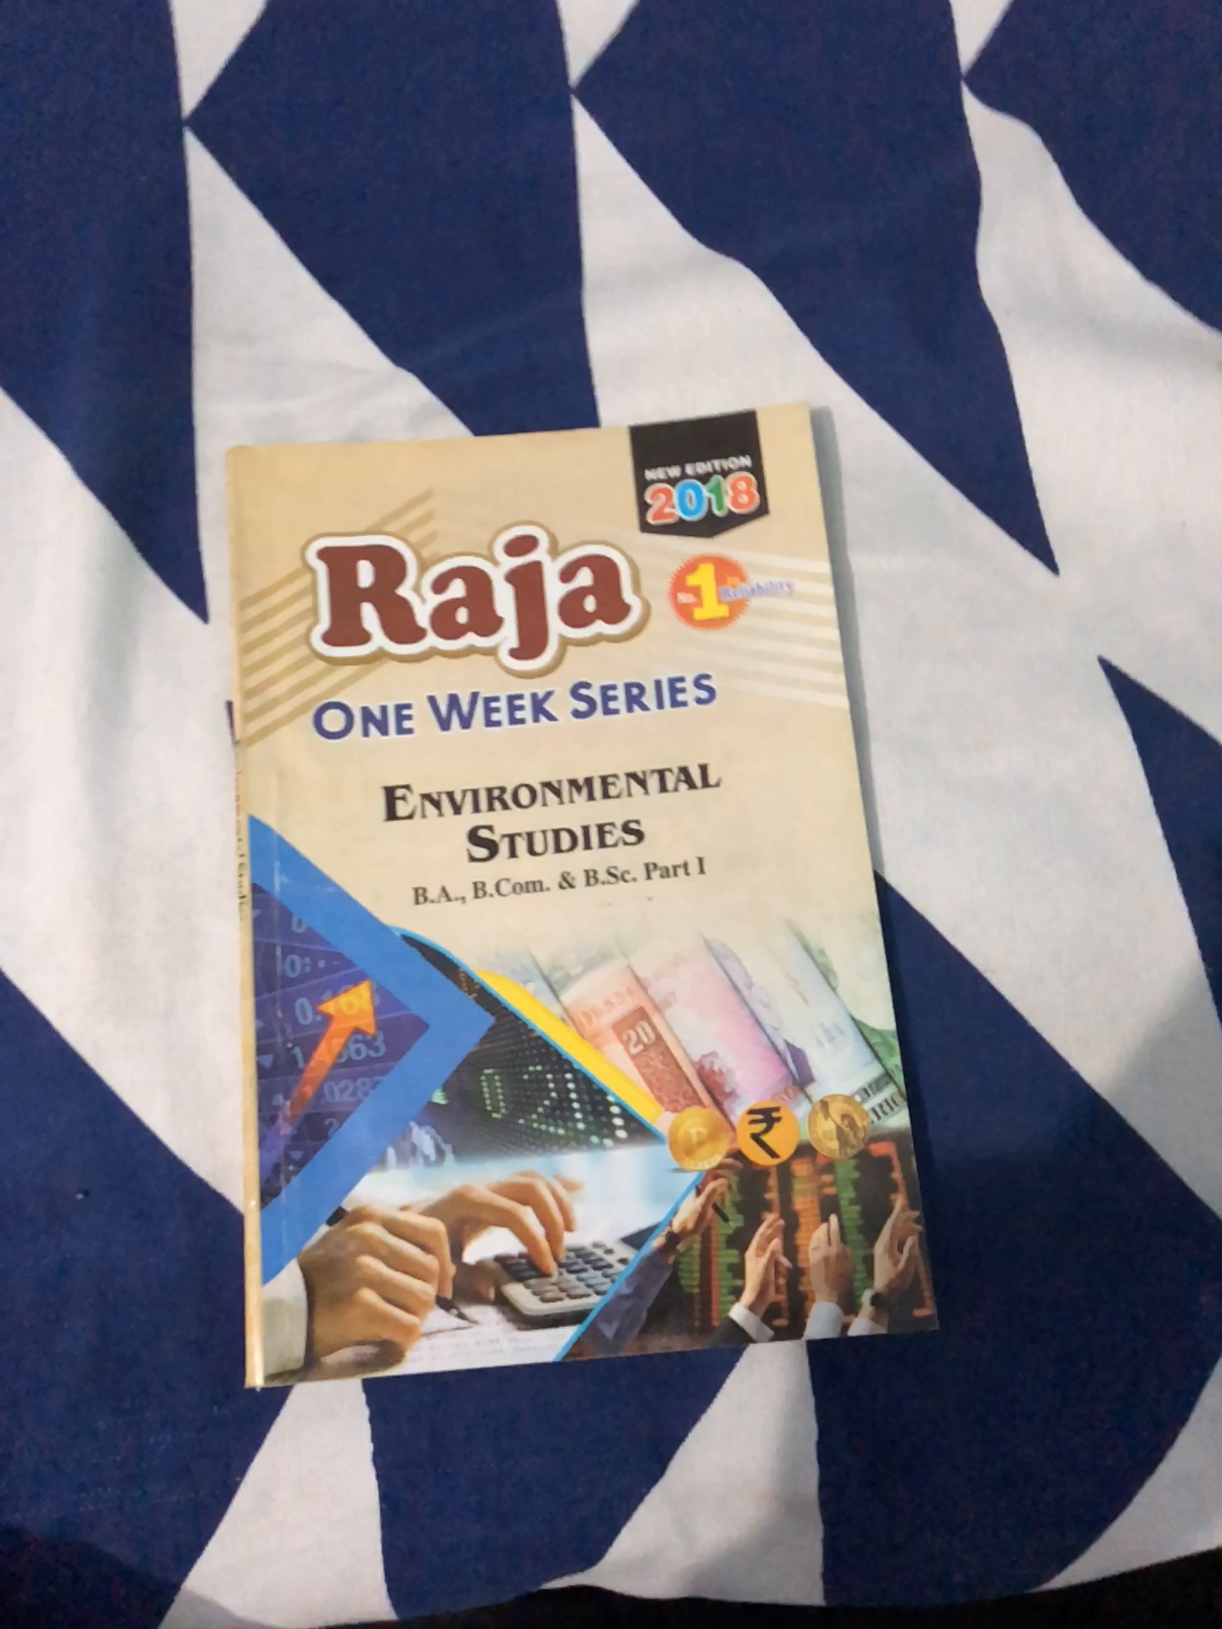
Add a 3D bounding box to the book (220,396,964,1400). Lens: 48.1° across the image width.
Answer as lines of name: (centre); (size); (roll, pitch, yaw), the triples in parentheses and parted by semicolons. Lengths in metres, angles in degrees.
book: (-0.011, 0.011, 0.291); (0.140, 0.010, 0.200); (-6, 77, 2)
